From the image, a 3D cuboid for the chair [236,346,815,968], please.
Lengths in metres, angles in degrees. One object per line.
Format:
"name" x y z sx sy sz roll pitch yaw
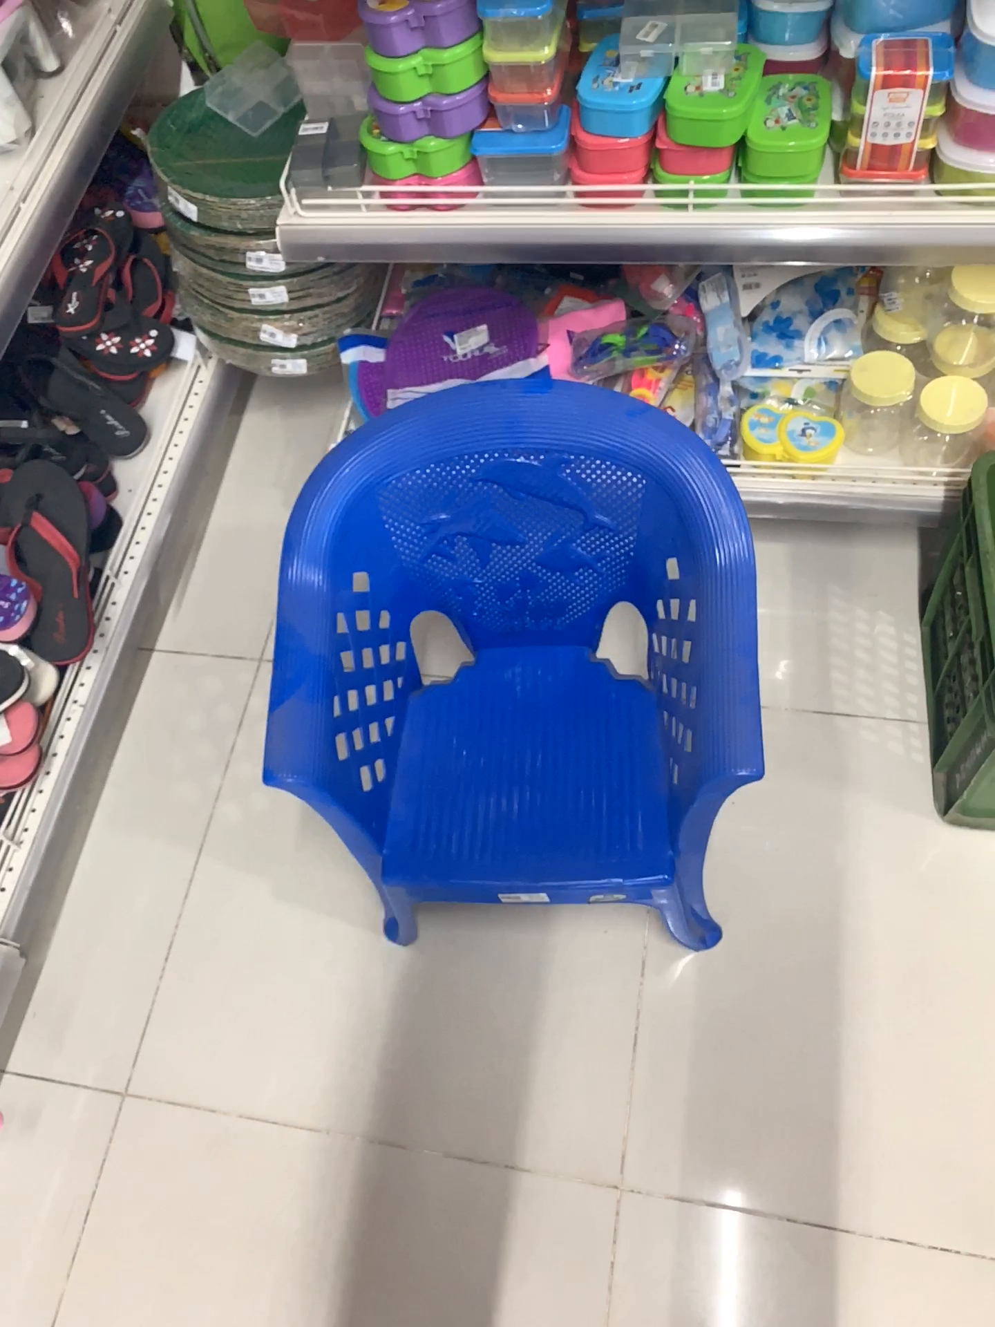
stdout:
"chair" 0.053 0.030 1.045 0.420 0.469 0.451 -2 62 8
